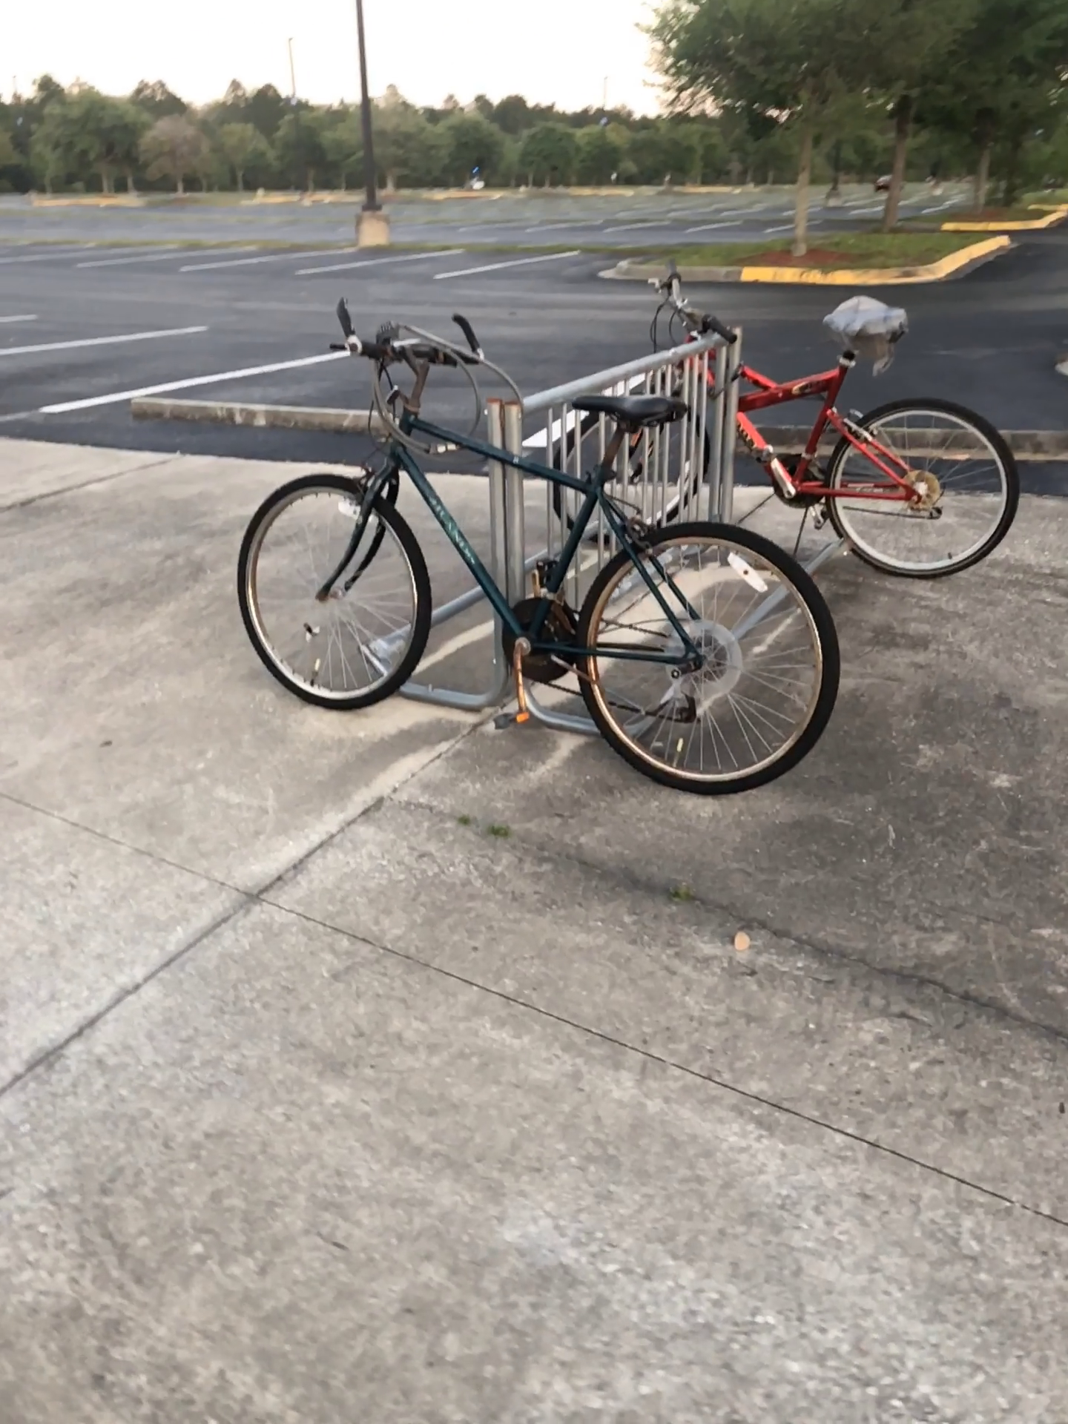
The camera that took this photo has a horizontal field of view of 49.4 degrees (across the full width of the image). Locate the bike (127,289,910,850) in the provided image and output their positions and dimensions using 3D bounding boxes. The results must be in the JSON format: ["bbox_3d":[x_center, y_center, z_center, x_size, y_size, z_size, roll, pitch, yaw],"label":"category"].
[{"bbox_3d":[-0.082,-0.459,2.961,1.753,1.104,0.586,11,26,26],"label":"bike"}]
